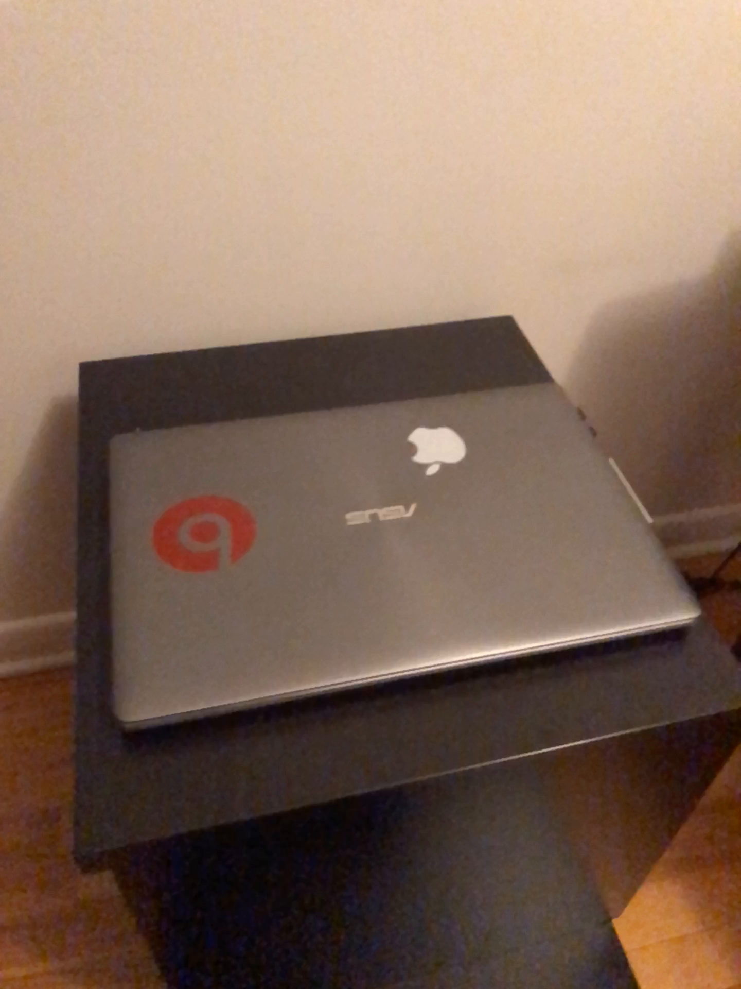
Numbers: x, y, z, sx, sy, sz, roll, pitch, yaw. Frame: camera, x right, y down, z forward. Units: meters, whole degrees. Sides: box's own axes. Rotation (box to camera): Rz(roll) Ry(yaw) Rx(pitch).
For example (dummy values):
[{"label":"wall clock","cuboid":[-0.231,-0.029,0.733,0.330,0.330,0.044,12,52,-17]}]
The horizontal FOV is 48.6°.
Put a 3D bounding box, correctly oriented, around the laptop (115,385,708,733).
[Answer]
[{"label":"laptop","cuboid":[0.011,0.023,0.594,0.373,0.010,0.250,-8,47,-10]}]
